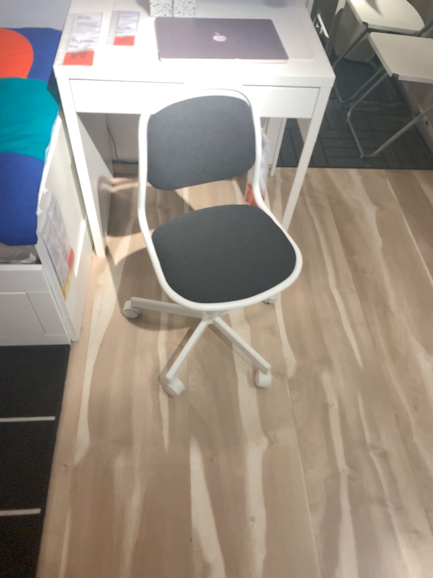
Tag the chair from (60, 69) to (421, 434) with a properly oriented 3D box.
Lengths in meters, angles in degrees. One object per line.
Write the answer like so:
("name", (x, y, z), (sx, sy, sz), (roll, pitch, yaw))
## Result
("chair", (-0.001, -0.094, 1.176), (0.570, 0.628, 0.591), (-17, 57, -17))
